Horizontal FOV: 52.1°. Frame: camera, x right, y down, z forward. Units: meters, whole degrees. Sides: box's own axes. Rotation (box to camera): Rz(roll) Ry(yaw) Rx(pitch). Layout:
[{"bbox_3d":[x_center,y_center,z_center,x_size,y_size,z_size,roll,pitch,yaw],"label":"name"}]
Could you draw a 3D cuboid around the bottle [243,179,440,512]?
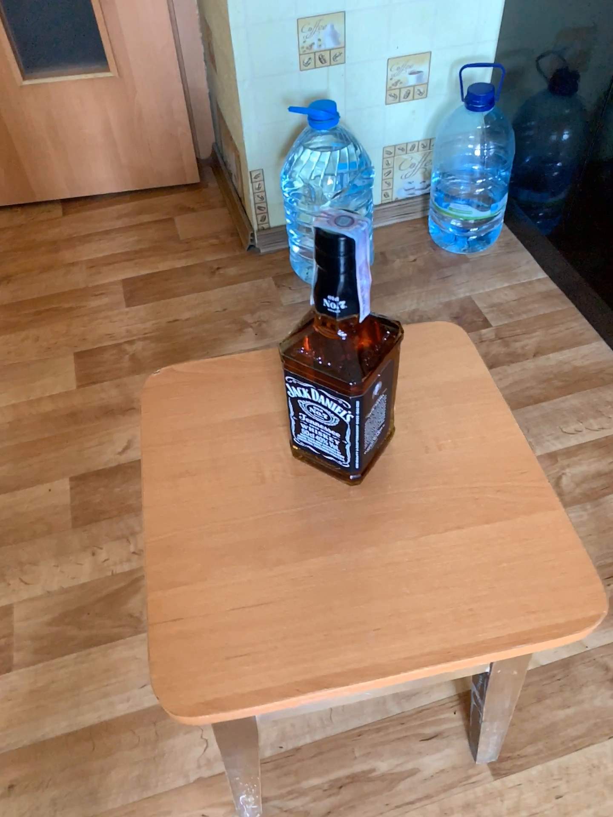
[{"bbox_3d":[0.024,-0.032,0.428,0.080,0.209,0.080,-1,50,2],"label":"bottle"}]
